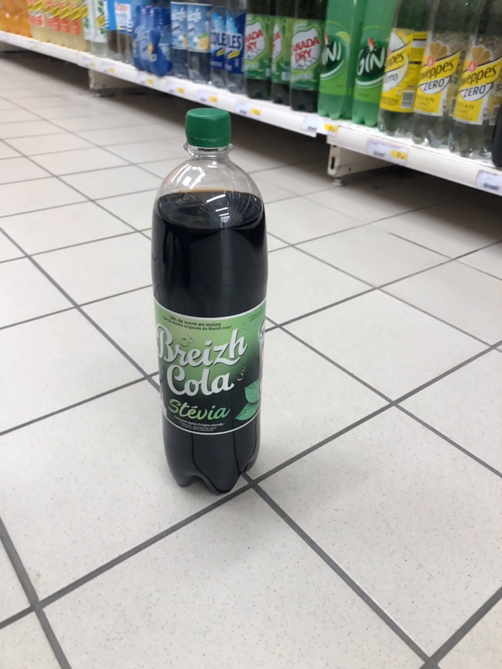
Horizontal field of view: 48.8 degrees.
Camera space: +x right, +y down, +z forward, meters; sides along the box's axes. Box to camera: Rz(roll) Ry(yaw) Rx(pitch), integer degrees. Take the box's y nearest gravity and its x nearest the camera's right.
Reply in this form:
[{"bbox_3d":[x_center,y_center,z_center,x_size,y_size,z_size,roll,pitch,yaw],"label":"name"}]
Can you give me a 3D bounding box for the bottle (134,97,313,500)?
[{"bbox_3d":[-0.018,-0.019,0.442,0.100,0.298,0.101,2,31,-1],"label":"bottle"}]
